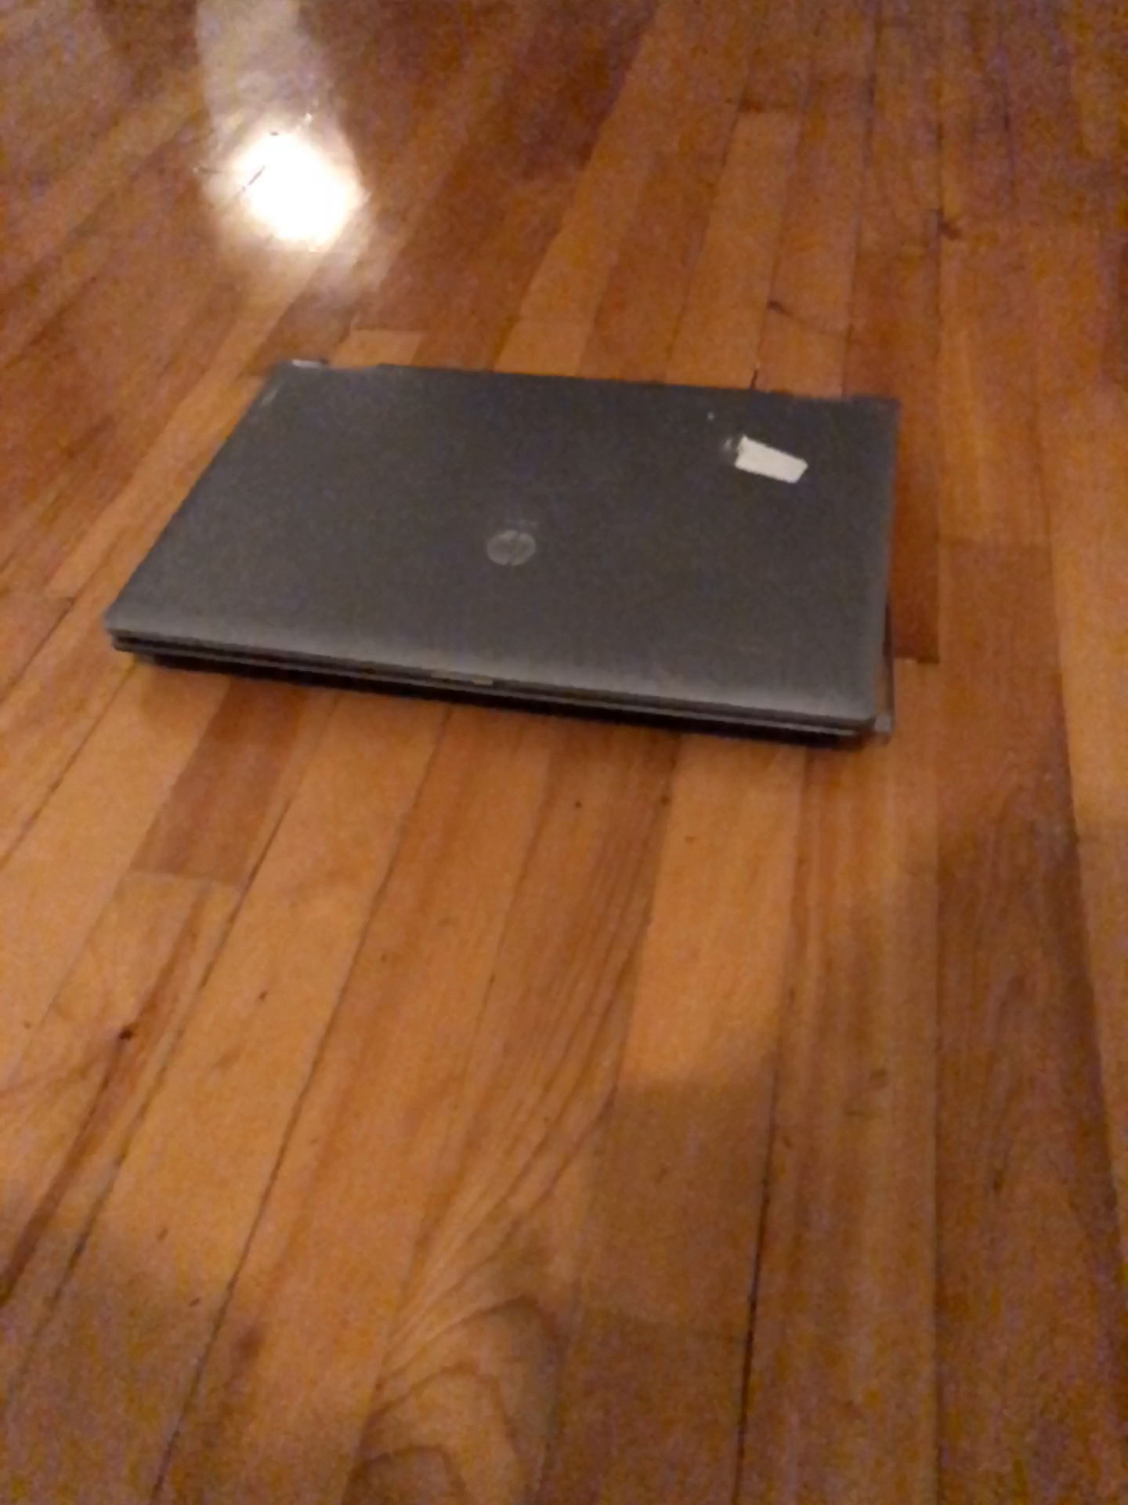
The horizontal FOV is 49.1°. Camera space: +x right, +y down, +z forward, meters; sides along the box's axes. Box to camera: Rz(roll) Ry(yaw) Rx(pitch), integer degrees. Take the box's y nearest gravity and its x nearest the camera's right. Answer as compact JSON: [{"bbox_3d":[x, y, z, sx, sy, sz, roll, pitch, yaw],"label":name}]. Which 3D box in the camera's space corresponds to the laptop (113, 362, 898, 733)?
[{"bbox_3d":[-0.017,-0.124,0.648,0.363,0.010,0.241,7,50,11],"label":"laptop"}]
